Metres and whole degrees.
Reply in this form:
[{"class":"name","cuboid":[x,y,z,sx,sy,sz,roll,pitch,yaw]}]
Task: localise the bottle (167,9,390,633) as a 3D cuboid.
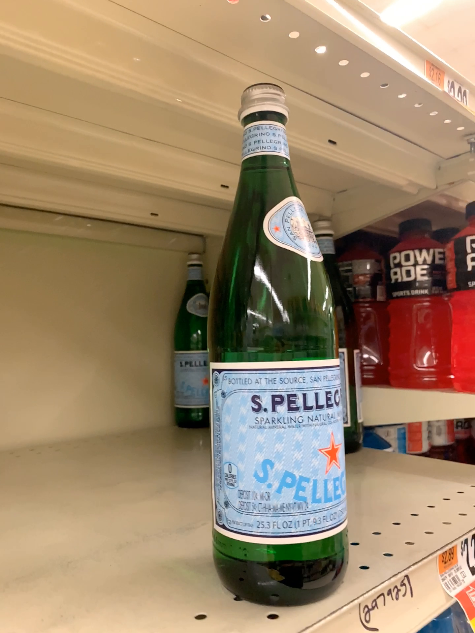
[{"class":"bottle","cuboid":[0.021,0.001,0.289,0.090,0.290,0.090,-1,-3,0]}]
